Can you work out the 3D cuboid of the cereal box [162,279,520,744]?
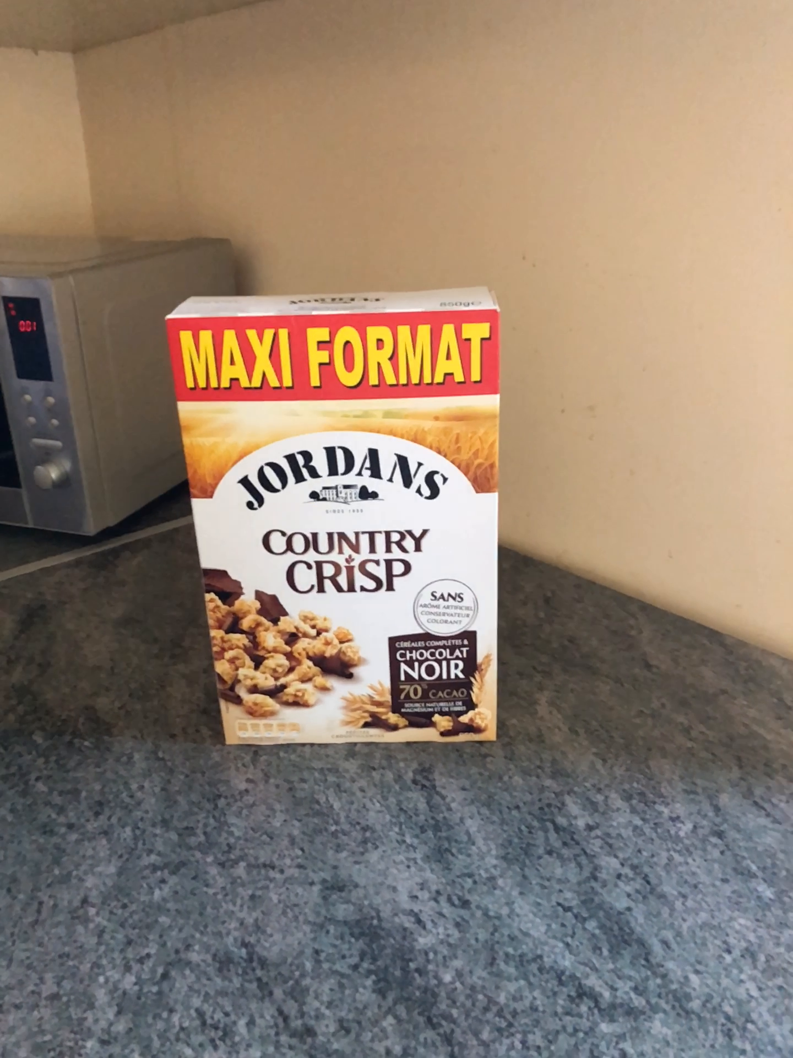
[{"bbox_3d":[-0.024,-0.003,0.577,0.200,0.298,0.070,-1,24,3],"label":"cereal box"}]
